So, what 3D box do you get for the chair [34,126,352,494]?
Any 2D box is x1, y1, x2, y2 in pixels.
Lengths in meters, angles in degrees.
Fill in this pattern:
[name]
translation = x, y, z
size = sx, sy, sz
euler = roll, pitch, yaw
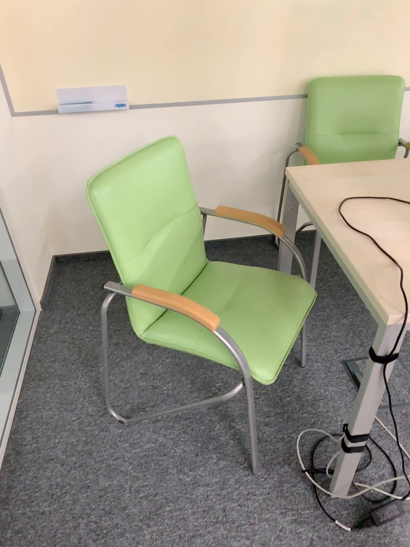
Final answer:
[chair]
translation = 0.017, 0.081, 1.447
size = 0.650, 0.895, 0.673
euler = 17, 40, 24
